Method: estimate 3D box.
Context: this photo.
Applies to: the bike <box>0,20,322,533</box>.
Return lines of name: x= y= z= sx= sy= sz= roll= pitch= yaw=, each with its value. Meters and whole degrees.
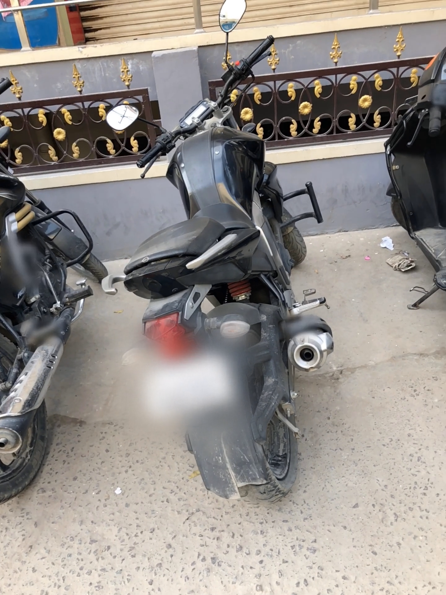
bike: x=-0.135 y=-0.301 z=1.899 sx=0.692 sy=1.197 sz=1.767 roll=-4 pitch=32 yaw=3
